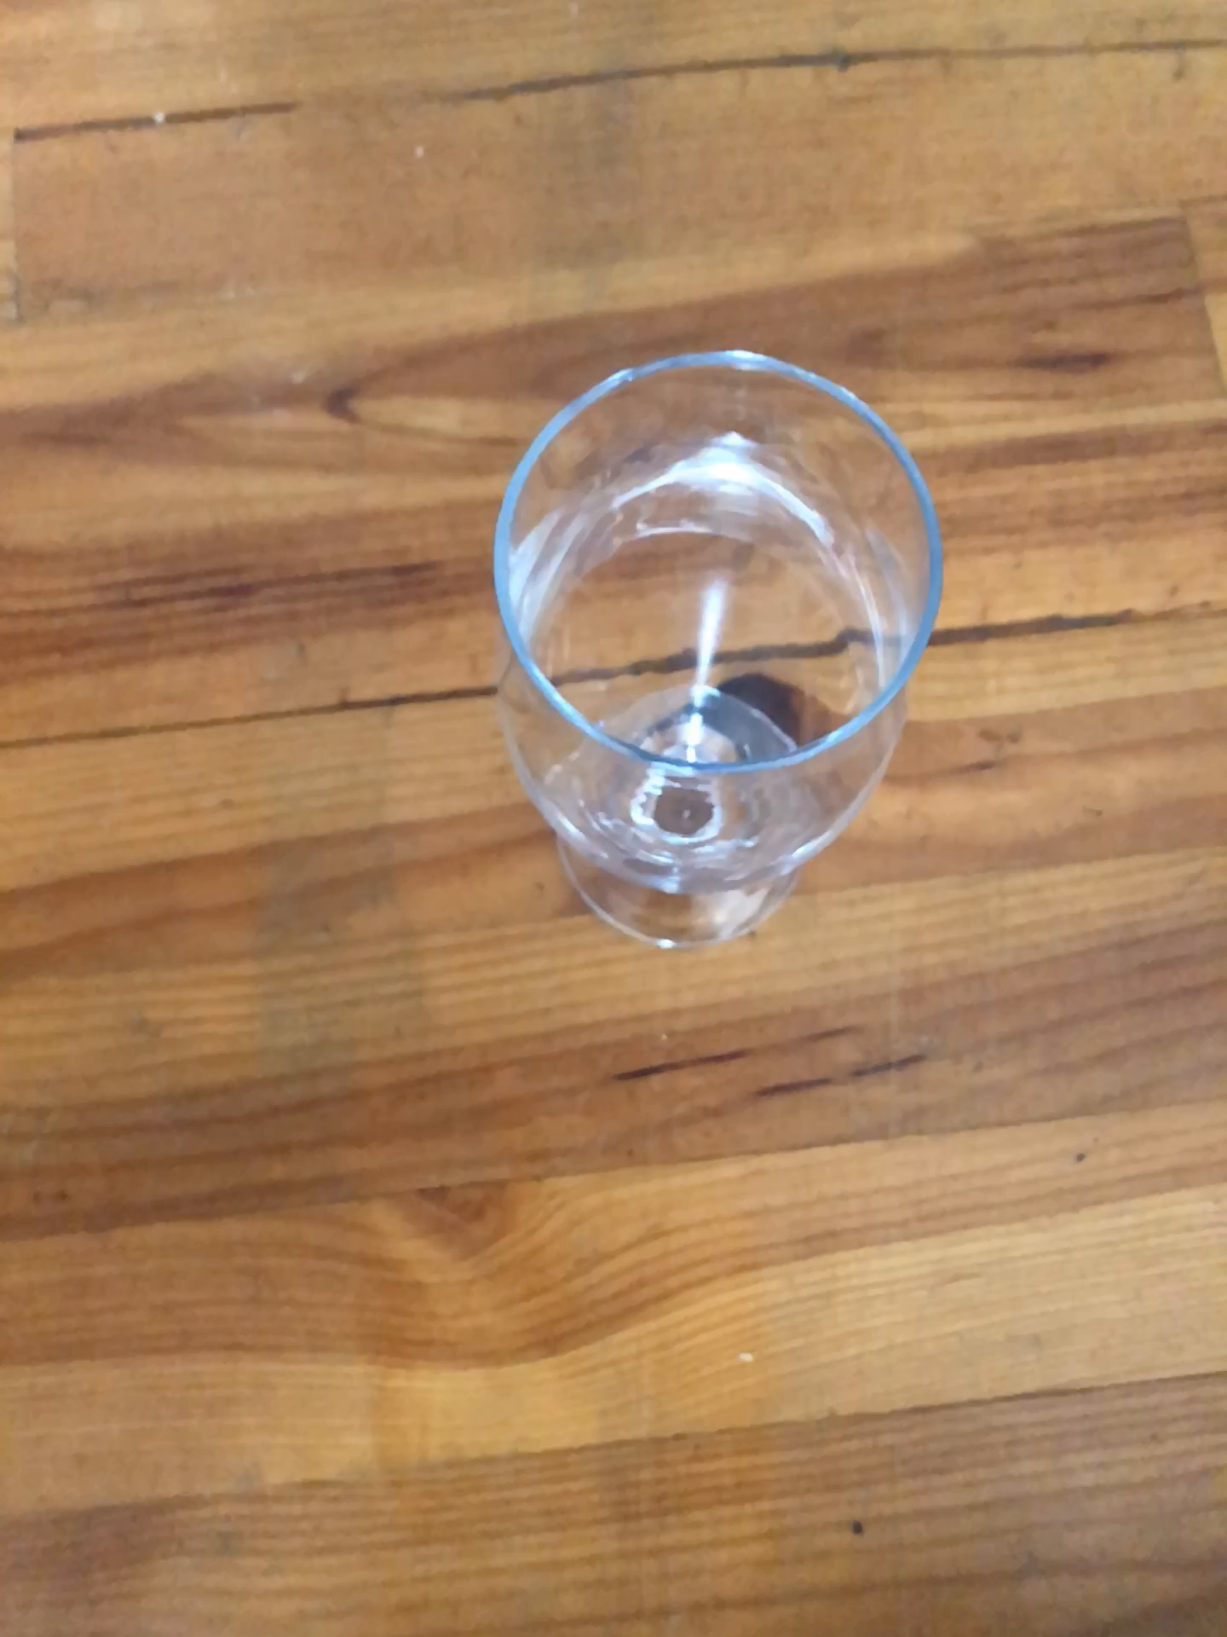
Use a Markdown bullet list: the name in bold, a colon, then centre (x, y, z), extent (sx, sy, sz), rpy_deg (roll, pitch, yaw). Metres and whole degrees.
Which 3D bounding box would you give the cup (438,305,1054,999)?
- **cup**: centre (0.018, -0.017, 0.305), extent (0.081, 0.184, 0.083), rpy_deg (0, 77, -1)
